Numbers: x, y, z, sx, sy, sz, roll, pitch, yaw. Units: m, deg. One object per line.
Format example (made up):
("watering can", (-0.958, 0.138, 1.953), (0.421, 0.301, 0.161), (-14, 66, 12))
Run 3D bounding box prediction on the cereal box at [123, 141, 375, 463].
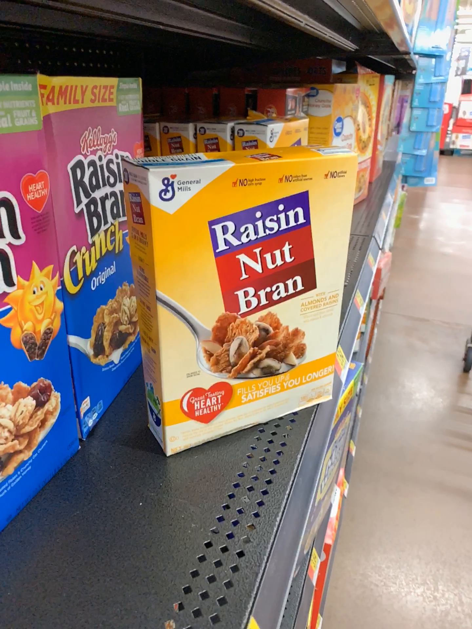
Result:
("cereal box", (0.014, -0.016, 0.446), (0.200, 0.259, 0.060), (-12, 28, -26))
